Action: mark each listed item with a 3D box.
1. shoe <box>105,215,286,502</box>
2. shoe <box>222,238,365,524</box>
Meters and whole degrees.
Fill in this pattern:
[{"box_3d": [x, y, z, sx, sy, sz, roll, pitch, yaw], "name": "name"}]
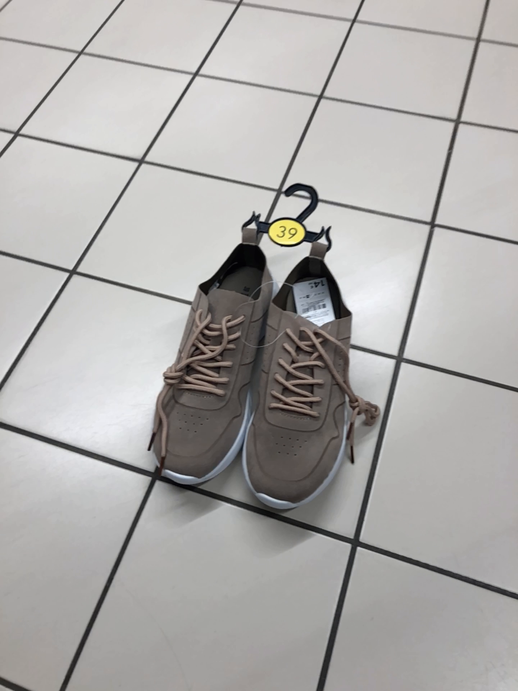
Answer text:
[{"box_3d": [-0.047, 0.006, 0.562, 0.100, 0.100, 0.255, 9, 60, 8], "name": "shoe"}, {"box_3d": [0.040, 0.025, 0.550, 0.100, 0.080, 0.259, 6, 60, 6], "name": "shoe"}]
